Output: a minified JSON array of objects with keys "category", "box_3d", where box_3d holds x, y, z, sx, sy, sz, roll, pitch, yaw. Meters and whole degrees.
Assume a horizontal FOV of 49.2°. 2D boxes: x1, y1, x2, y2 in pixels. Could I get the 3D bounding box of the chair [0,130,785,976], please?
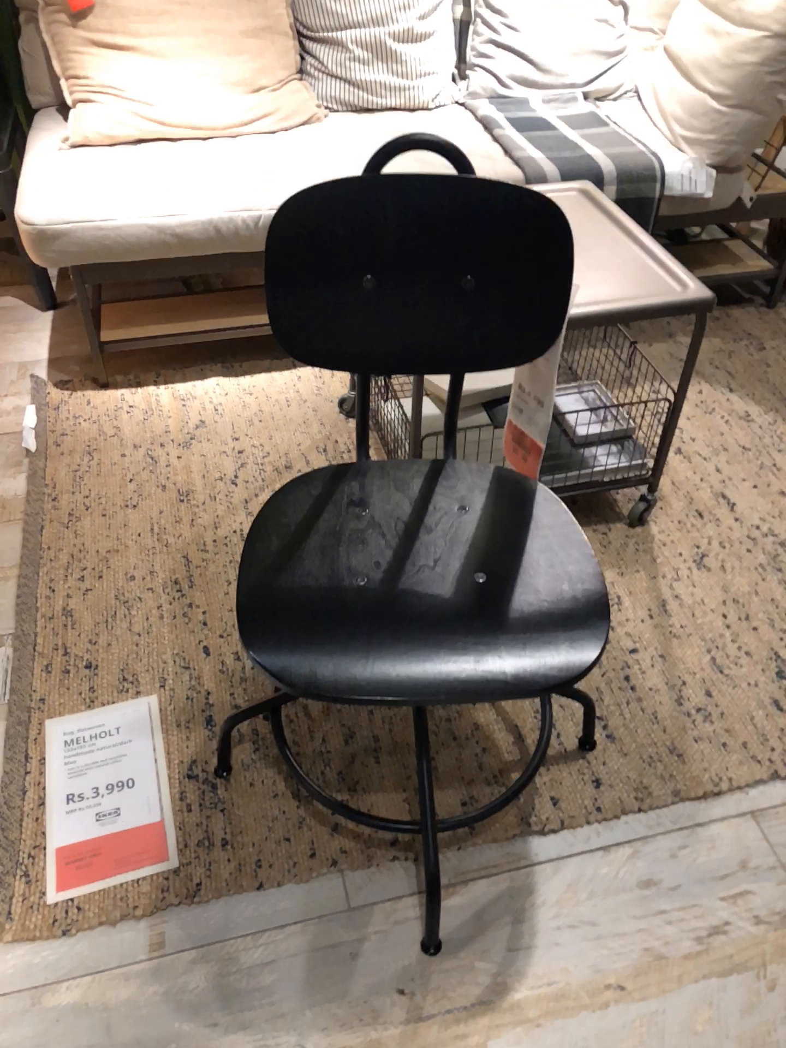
[{"category":"chair","box_3d":[0.024,0.048,0.995,0.590,0.765,0.584,-2,43,-3]}]
